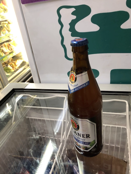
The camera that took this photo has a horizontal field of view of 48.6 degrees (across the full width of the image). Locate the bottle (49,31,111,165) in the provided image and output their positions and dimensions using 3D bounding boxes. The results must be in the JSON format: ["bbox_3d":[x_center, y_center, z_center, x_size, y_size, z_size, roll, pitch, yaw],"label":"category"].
[{"bbox_3d":[0.035,0.030,0.269,0.060,0.238,0.070,-24,32,-23],"label":"bottle"}]
